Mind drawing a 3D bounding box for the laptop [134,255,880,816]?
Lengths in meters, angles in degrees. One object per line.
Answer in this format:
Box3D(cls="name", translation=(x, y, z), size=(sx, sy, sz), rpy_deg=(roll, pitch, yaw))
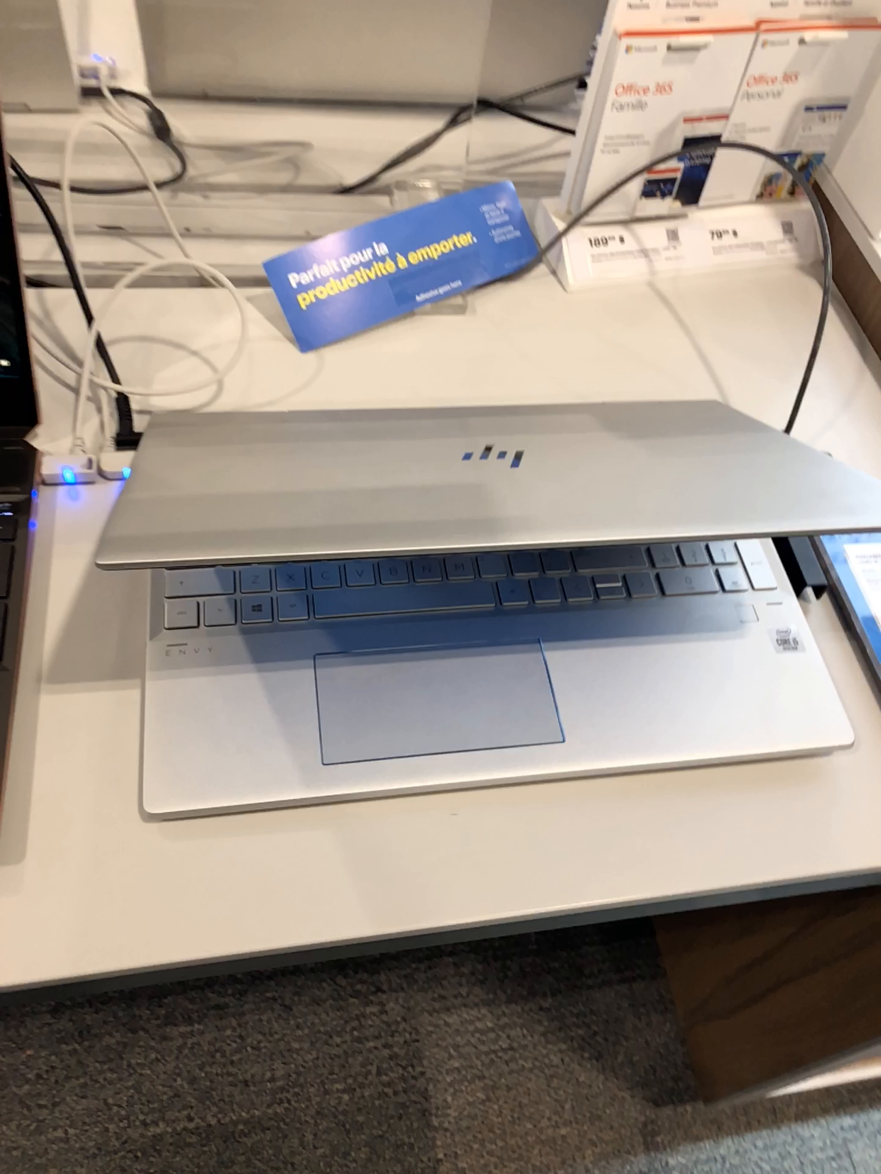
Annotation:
Box3D(cls="laptop", translation=(0.041, -0.035, 0.469), size=(0.346, 0.116, 0.230), rpy_deg=(-3, 57, -9))
